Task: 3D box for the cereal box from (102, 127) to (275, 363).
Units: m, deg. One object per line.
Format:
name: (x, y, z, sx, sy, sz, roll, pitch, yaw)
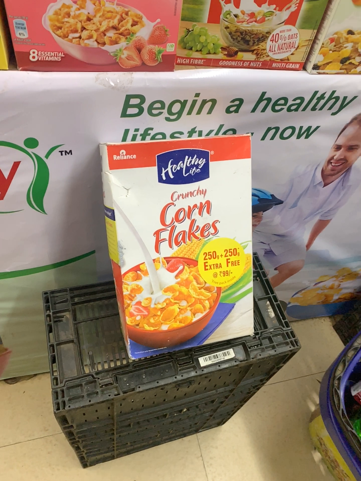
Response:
cereal box: (0.012, -0.002, 0.515, 0.200, 0.280, 0.100, -8, 12, -13)
